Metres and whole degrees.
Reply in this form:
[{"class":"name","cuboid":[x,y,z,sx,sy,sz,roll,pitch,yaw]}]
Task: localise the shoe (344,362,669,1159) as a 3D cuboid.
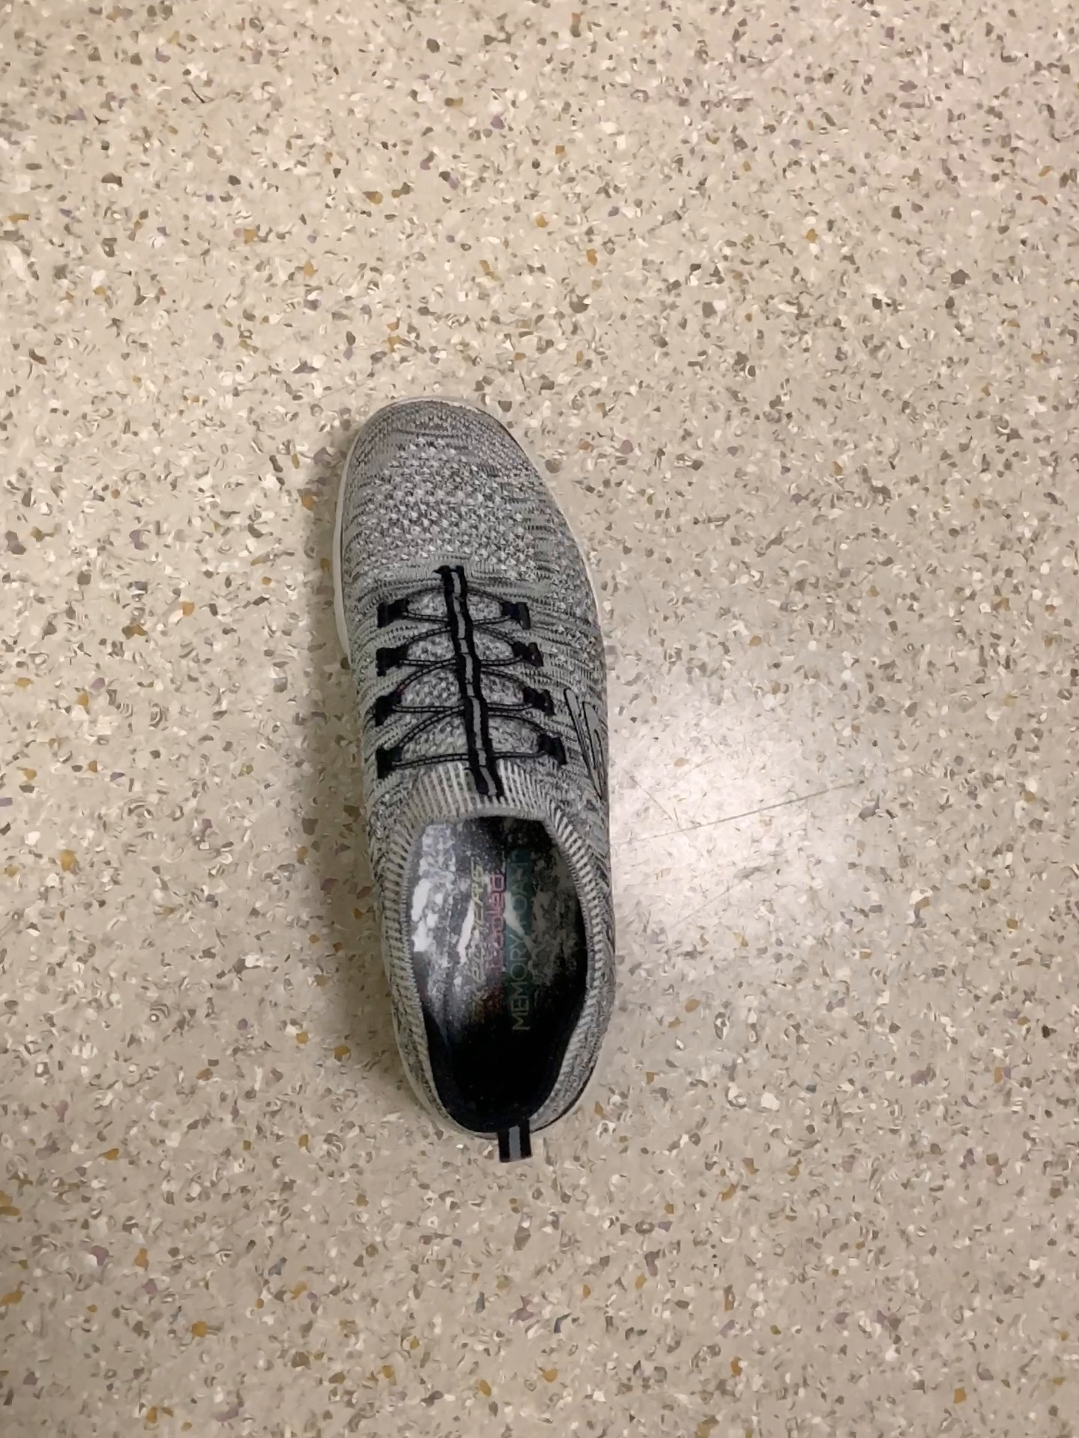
[{"class":"shoe","cuboid":[-0.017,0.012,0.386,0.094,0.093,0.241,-1,85,-9]}]
